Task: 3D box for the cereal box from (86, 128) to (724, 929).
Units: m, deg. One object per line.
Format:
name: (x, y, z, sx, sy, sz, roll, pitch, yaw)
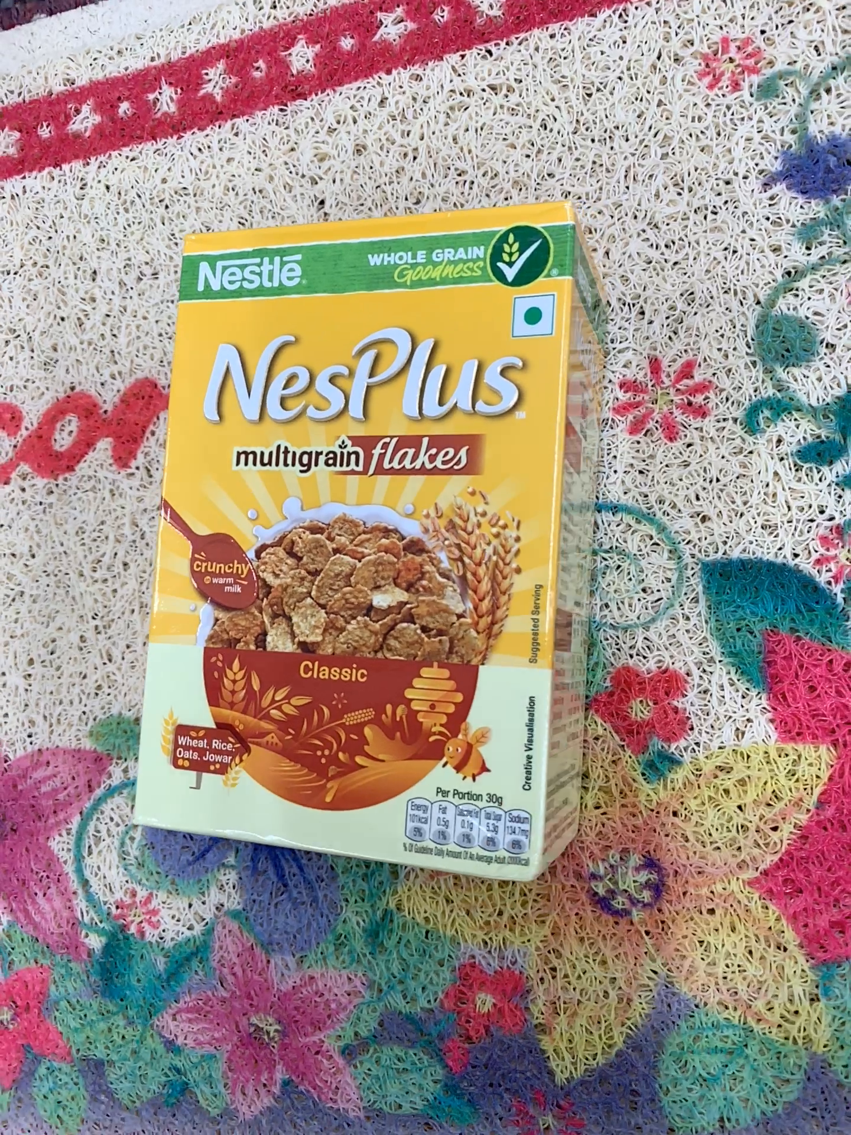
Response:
cereal box: (-0.004, -0.011, 0.205, 0.130, 0.040, 0.150, 3, 84, 20)
